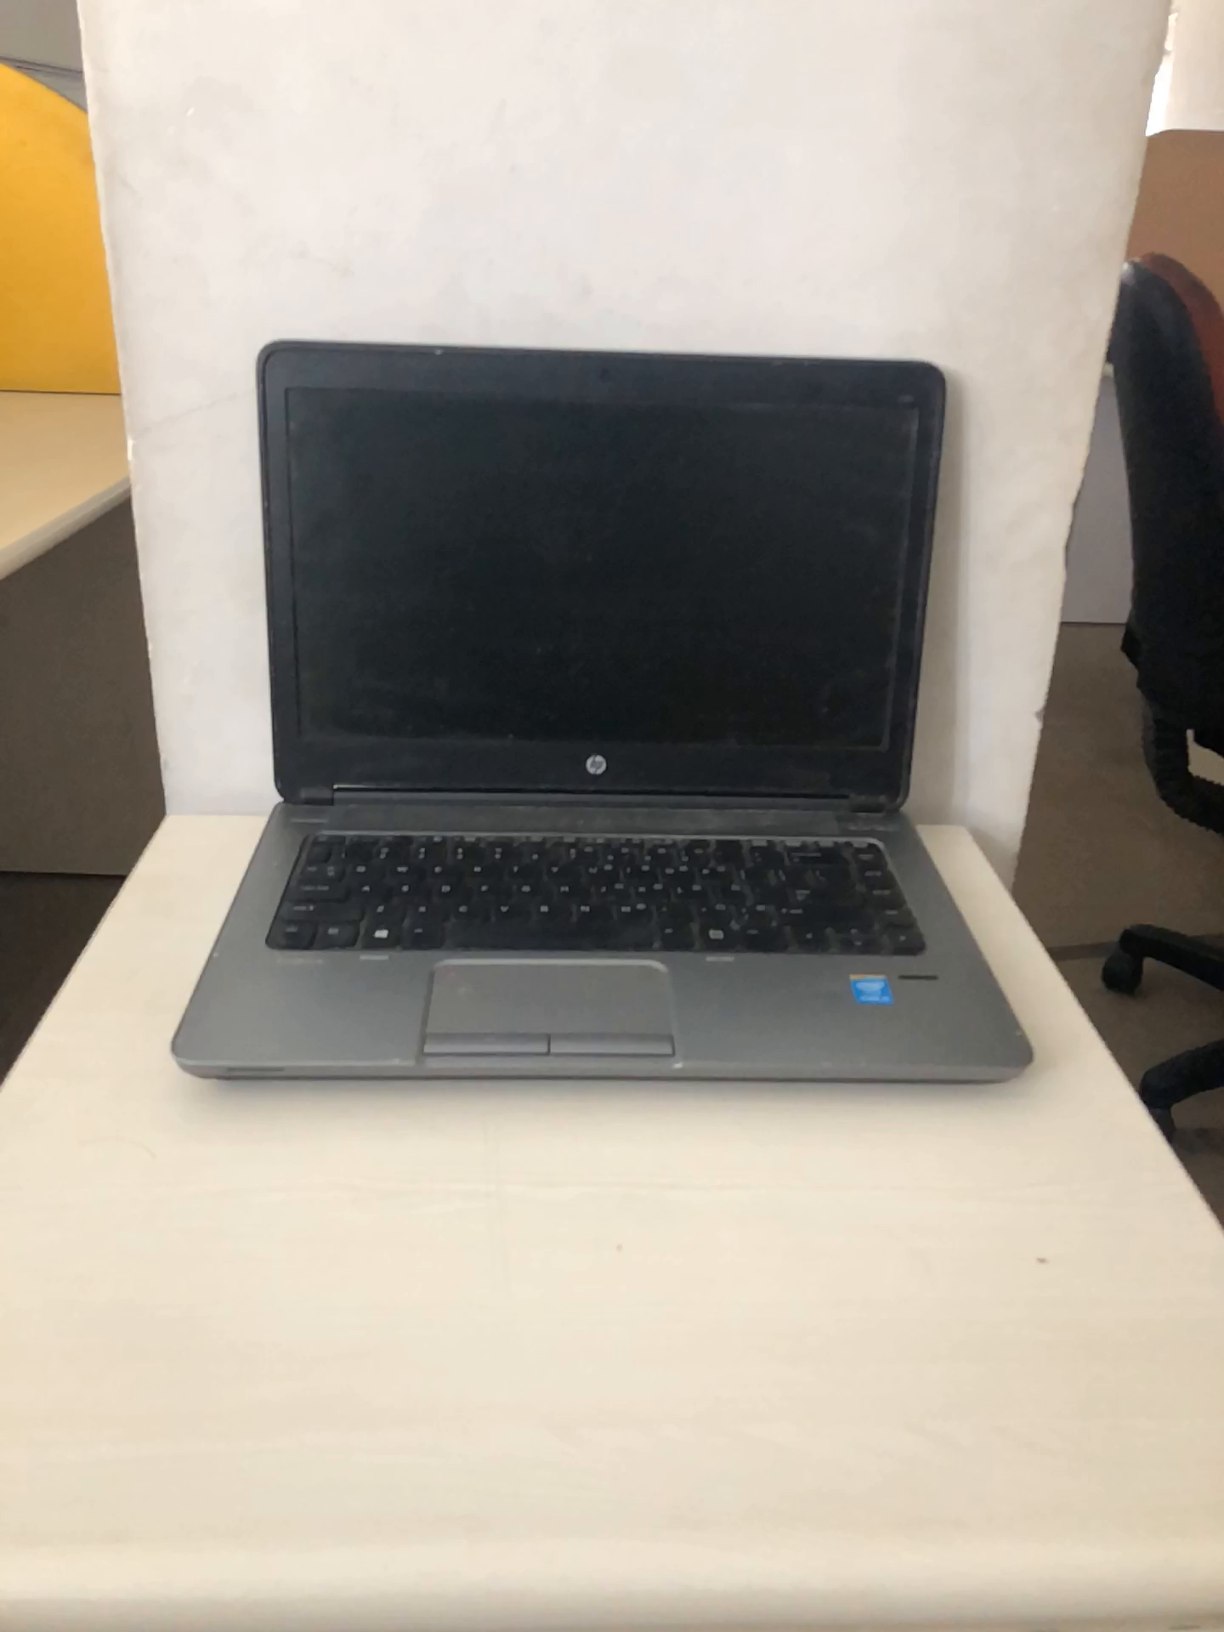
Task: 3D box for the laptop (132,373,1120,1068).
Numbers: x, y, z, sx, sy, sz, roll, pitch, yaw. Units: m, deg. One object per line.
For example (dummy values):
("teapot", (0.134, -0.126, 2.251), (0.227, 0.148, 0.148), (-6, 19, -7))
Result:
("laptop", (0.004, -0.054, 0.561), (0.304, 0.209, 0.238), (1, 25, -3))
